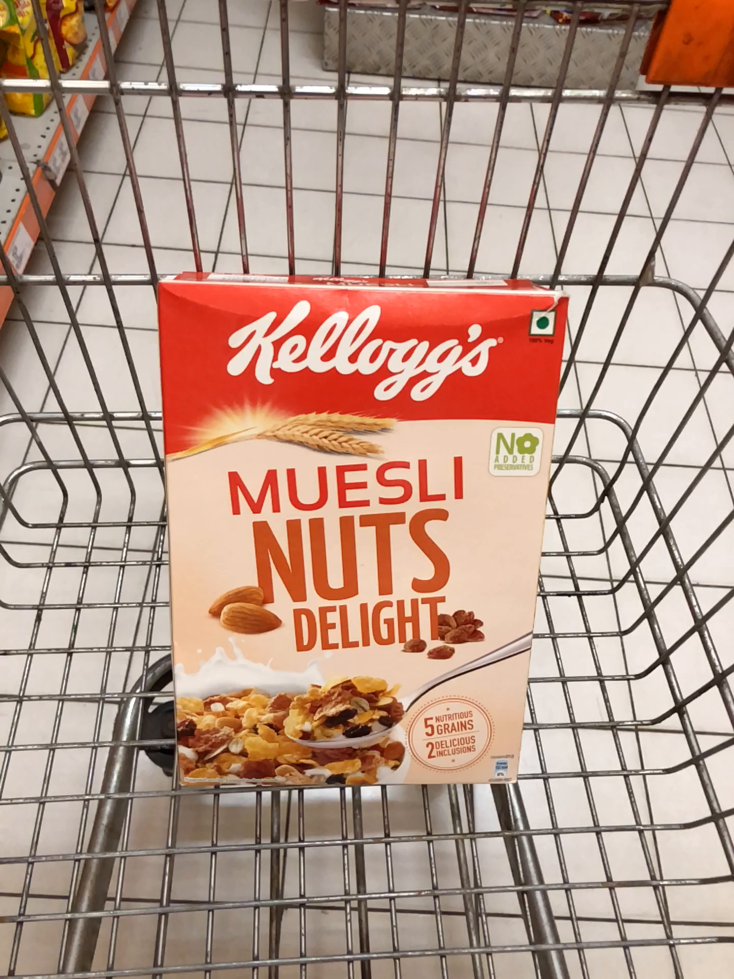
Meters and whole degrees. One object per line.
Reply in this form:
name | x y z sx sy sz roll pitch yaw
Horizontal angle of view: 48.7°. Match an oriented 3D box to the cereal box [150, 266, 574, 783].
cereal box | -0.007 0.020 0.412 0.180 0.249 0.070 1 16 -3
